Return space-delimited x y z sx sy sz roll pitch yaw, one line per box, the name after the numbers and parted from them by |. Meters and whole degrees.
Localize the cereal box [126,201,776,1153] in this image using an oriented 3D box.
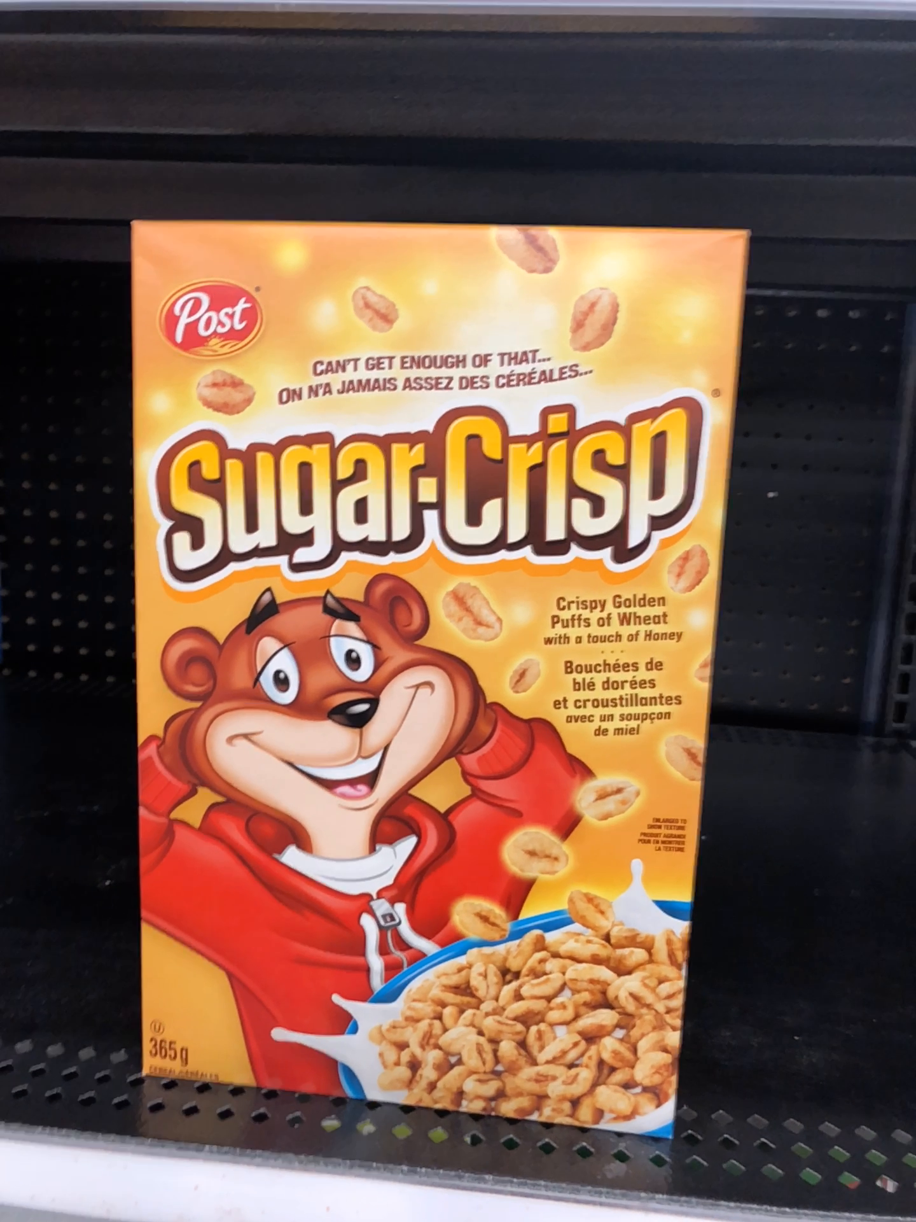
-0.009 0.023 0.365 0.200 0.309 0.060 4 10 7 | cereal box
